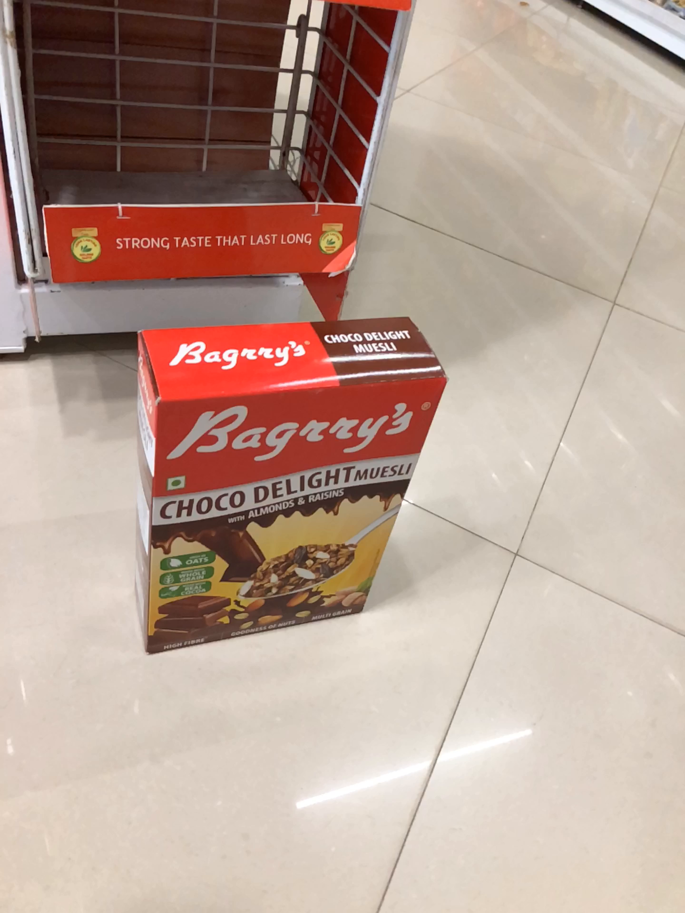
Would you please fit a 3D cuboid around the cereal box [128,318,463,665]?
[{"bbox_3d":[-0.050,0.032,0.539,0.191,0.258,0.070,-6,46,-22],"label":"cereal box"}]
